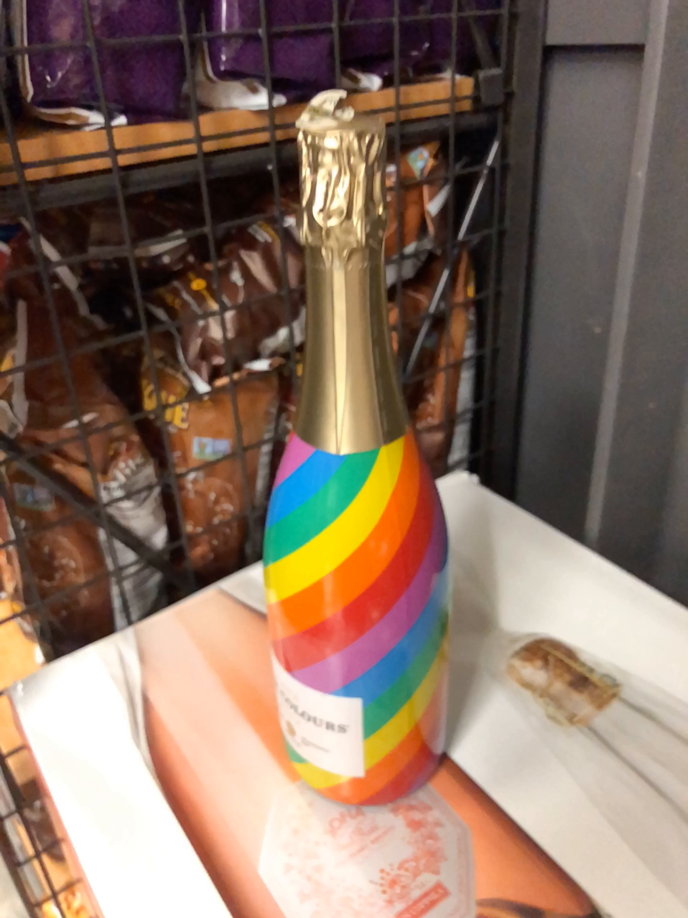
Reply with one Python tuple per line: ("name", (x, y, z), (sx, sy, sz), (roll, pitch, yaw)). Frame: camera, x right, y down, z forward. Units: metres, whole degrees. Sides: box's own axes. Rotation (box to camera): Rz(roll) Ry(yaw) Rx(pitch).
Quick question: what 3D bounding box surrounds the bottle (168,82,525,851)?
("bottle", (0.006, 0.016, 0.338), (0.088, 0.319, 0.088), (-2, 29, 1))
